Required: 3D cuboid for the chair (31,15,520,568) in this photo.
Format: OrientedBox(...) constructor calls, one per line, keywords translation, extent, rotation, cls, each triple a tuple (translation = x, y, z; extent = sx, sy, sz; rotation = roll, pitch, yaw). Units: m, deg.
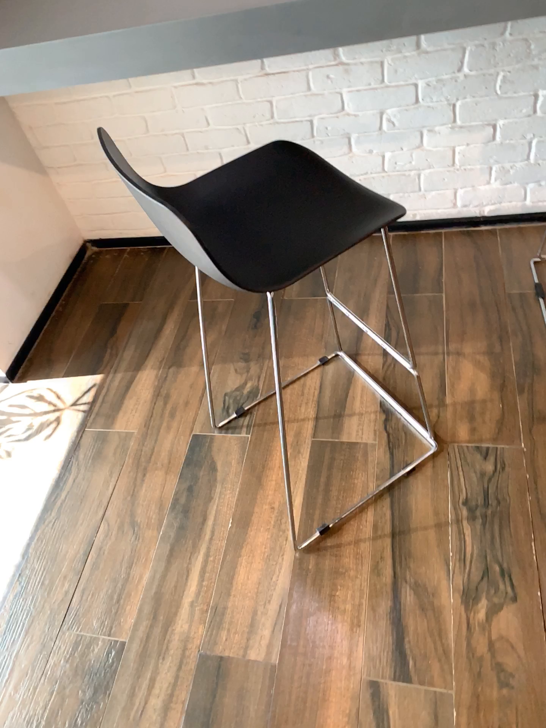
OrientedBox(translation=(0.046, -0.115, 1.199), extent=(0.591, 0.863, 0.544), rotation=(-32, 49, -12), cls="chair")
